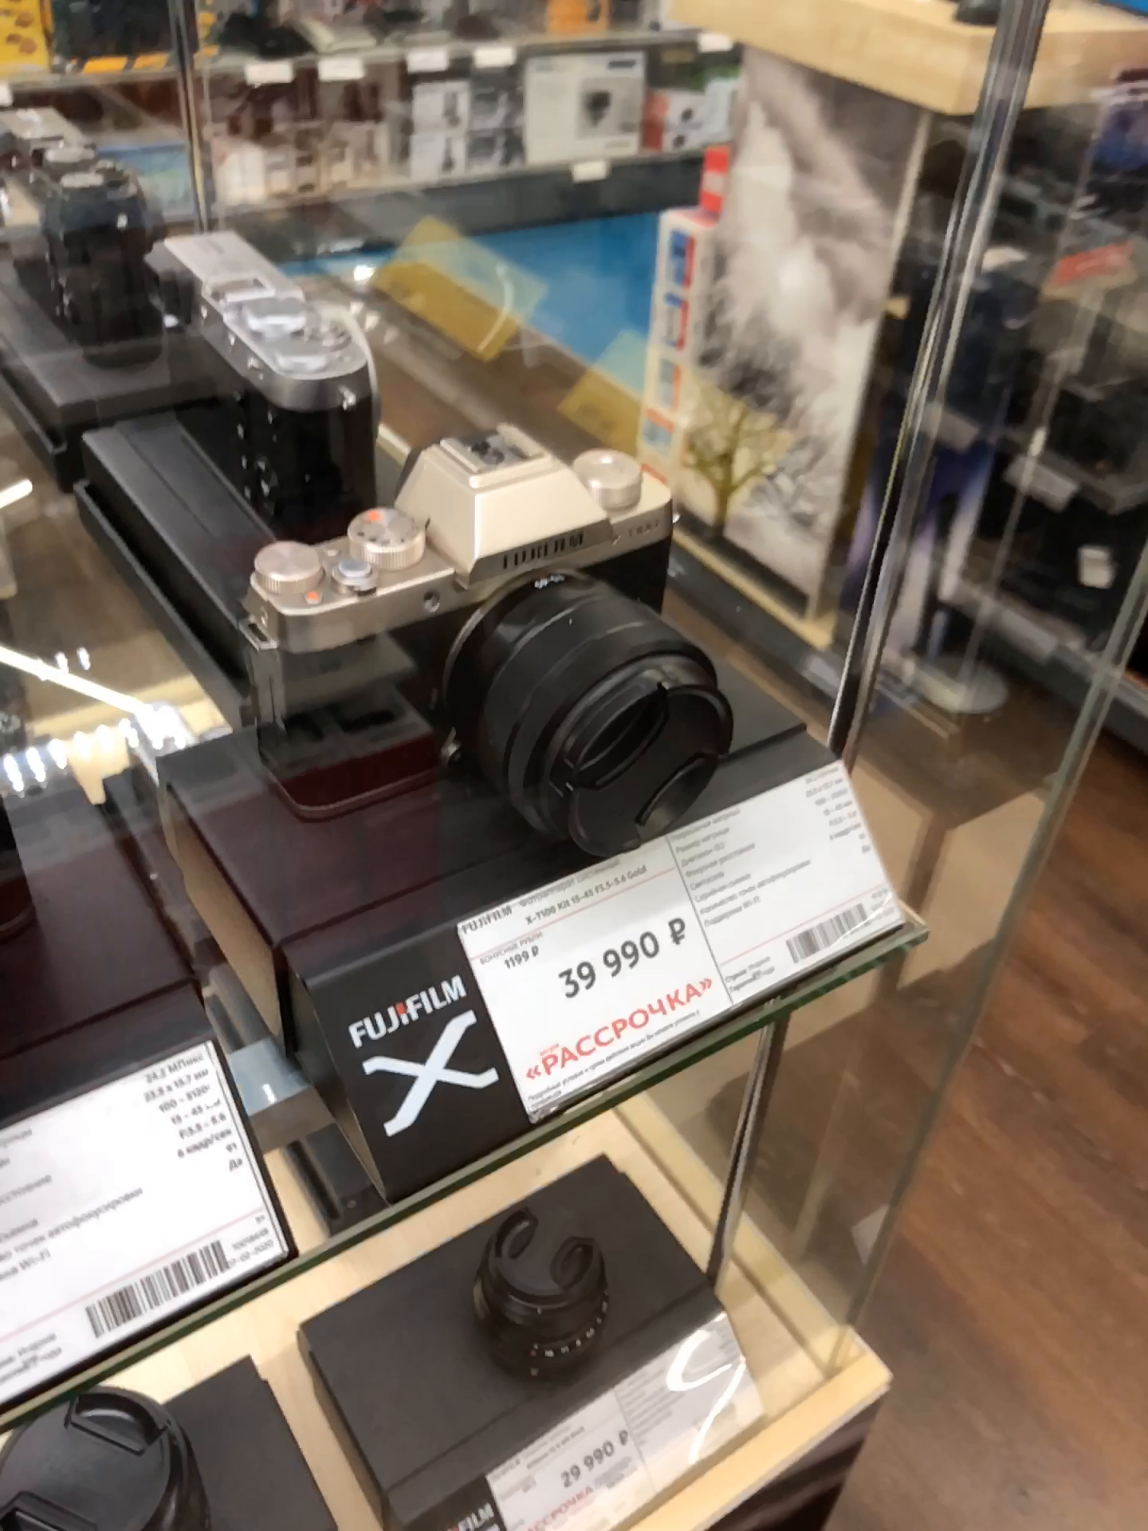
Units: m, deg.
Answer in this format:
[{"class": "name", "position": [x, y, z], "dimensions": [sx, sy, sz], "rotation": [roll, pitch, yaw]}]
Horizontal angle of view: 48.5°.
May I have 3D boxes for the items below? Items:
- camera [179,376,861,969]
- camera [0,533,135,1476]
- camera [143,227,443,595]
[{"class": "camera", "position": [-0.015, -0.033, 0.333], "dimensions": [0.132, 0.080, 0.100], "rotation": [-23, 47, -29]}, {"class": "camera", "position": [-0.179, 0.032, 0.246], "dimensions": [0.141, 0.086, 0.102], "rotation": [-21, 46, -28]}, {"class": "camera", "position": [-0.102, -0.132, 0.460], "dimensions": [0.055, 0.076, 0.132], "rotation": [-19, 45, -26]}]
